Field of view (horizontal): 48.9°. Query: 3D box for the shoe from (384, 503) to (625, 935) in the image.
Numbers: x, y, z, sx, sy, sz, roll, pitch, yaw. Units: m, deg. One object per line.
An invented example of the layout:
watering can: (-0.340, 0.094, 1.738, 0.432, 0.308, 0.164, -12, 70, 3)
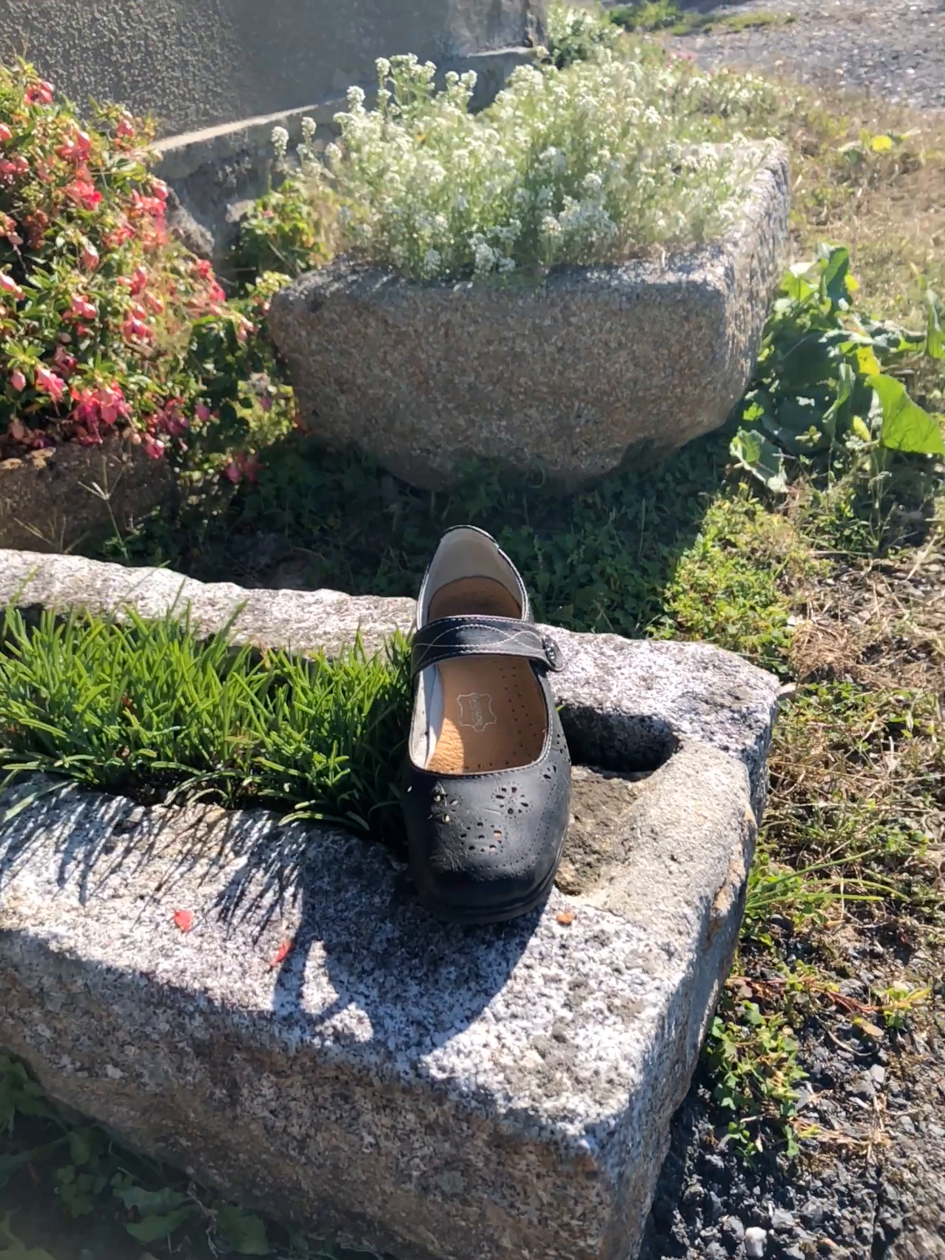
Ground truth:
shoe: (0.016, 0.033, 0.576, 0.100, 0.099, 0.252, -6, 32, 3)
